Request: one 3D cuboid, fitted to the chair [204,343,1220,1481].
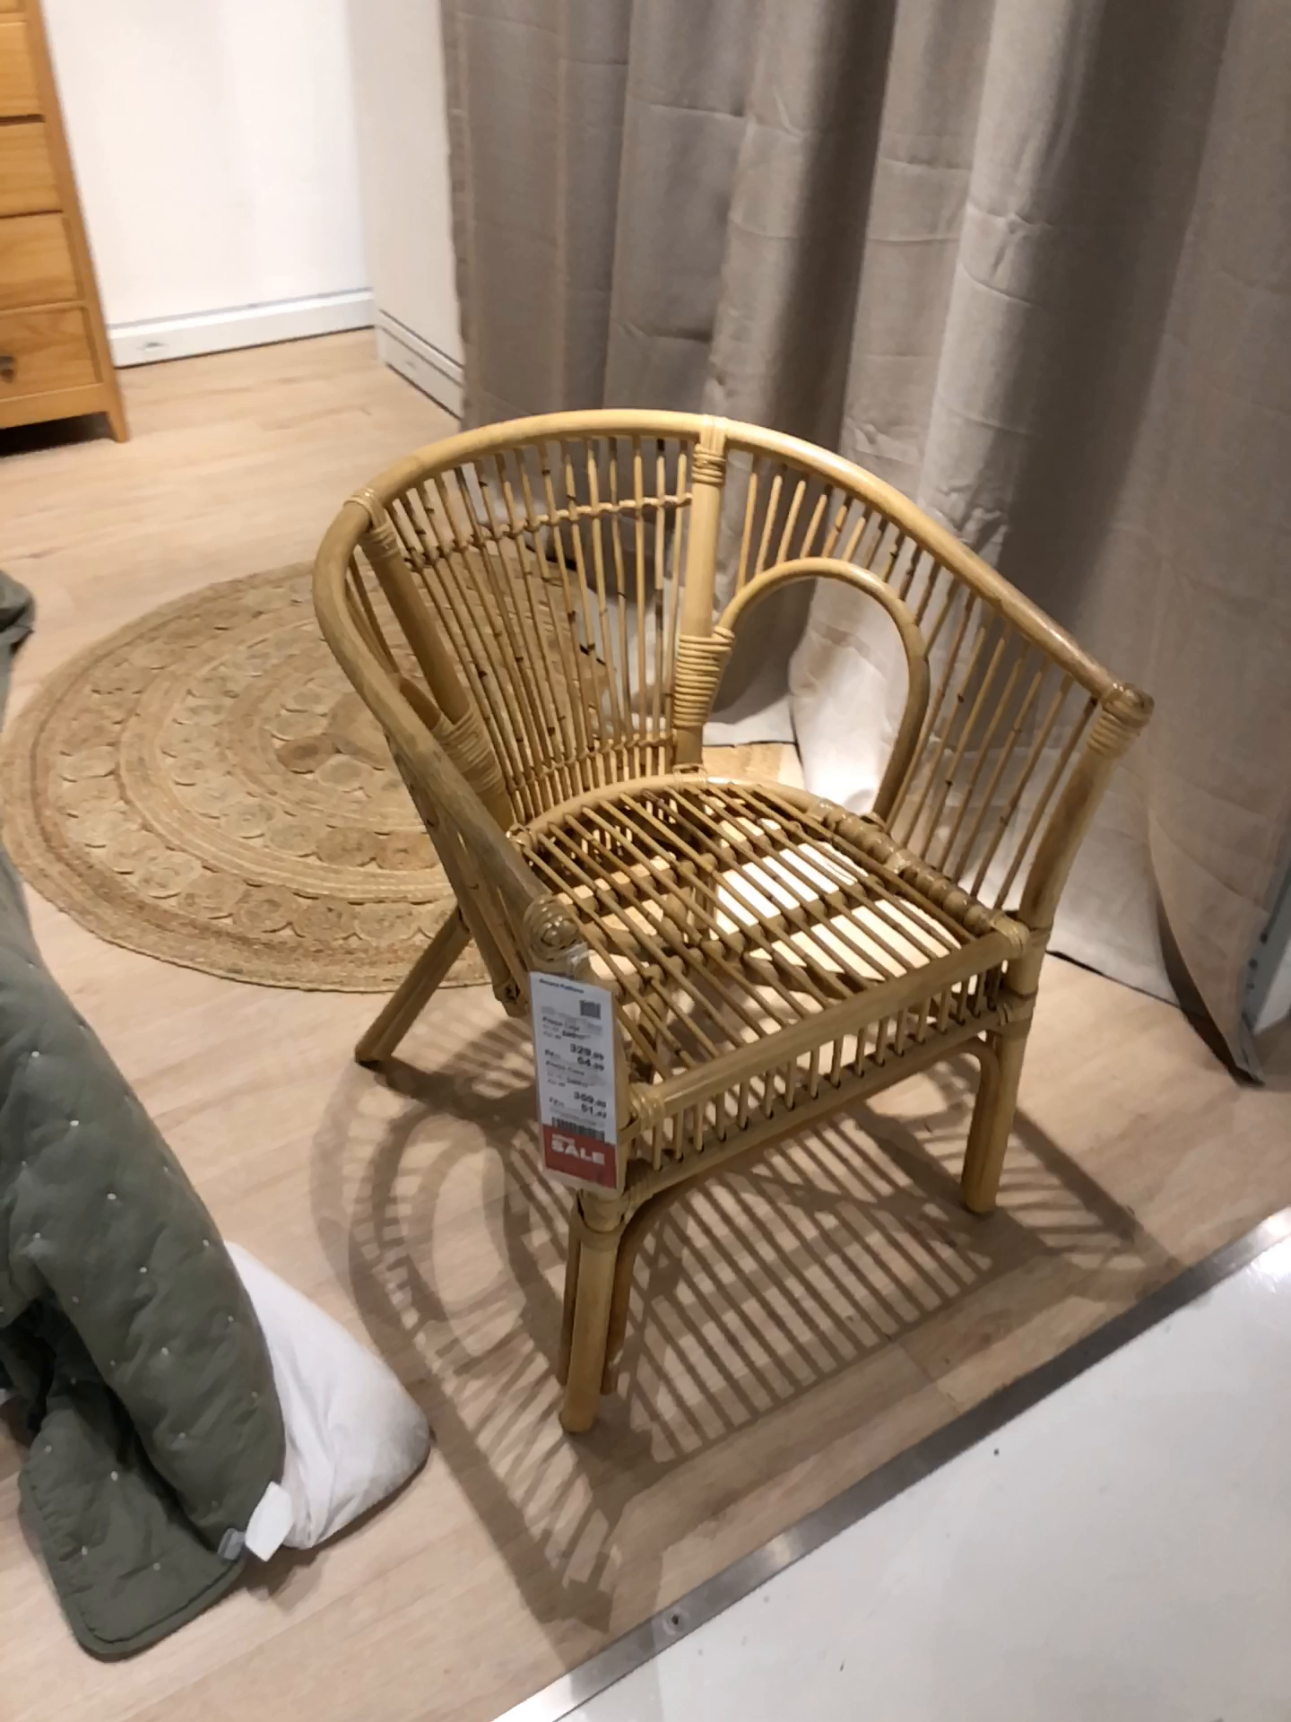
[{"bbox_3d":[0.012,0.009,1.396,0.591,0.754,0.633,-19,43,-25],"label":"chair"}]
